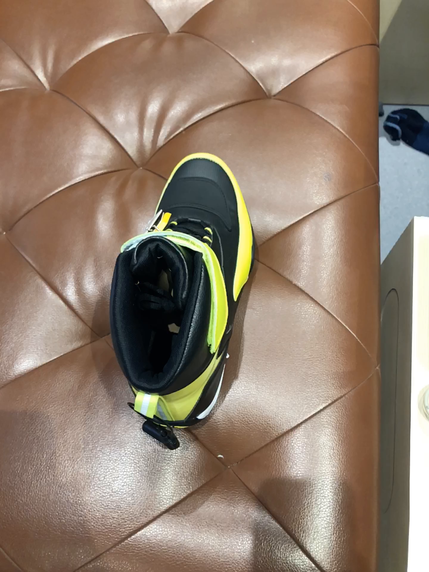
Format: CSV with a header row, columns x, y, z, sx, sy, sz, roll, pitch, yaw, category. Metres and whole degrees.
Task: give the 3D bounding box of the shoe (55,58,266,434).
x,y,z,sx,sy,sz,roll,pitch,yaw,category
-0.025,-0.026,0.418,0.116,0.173,0.275,4,67,4,shoe
